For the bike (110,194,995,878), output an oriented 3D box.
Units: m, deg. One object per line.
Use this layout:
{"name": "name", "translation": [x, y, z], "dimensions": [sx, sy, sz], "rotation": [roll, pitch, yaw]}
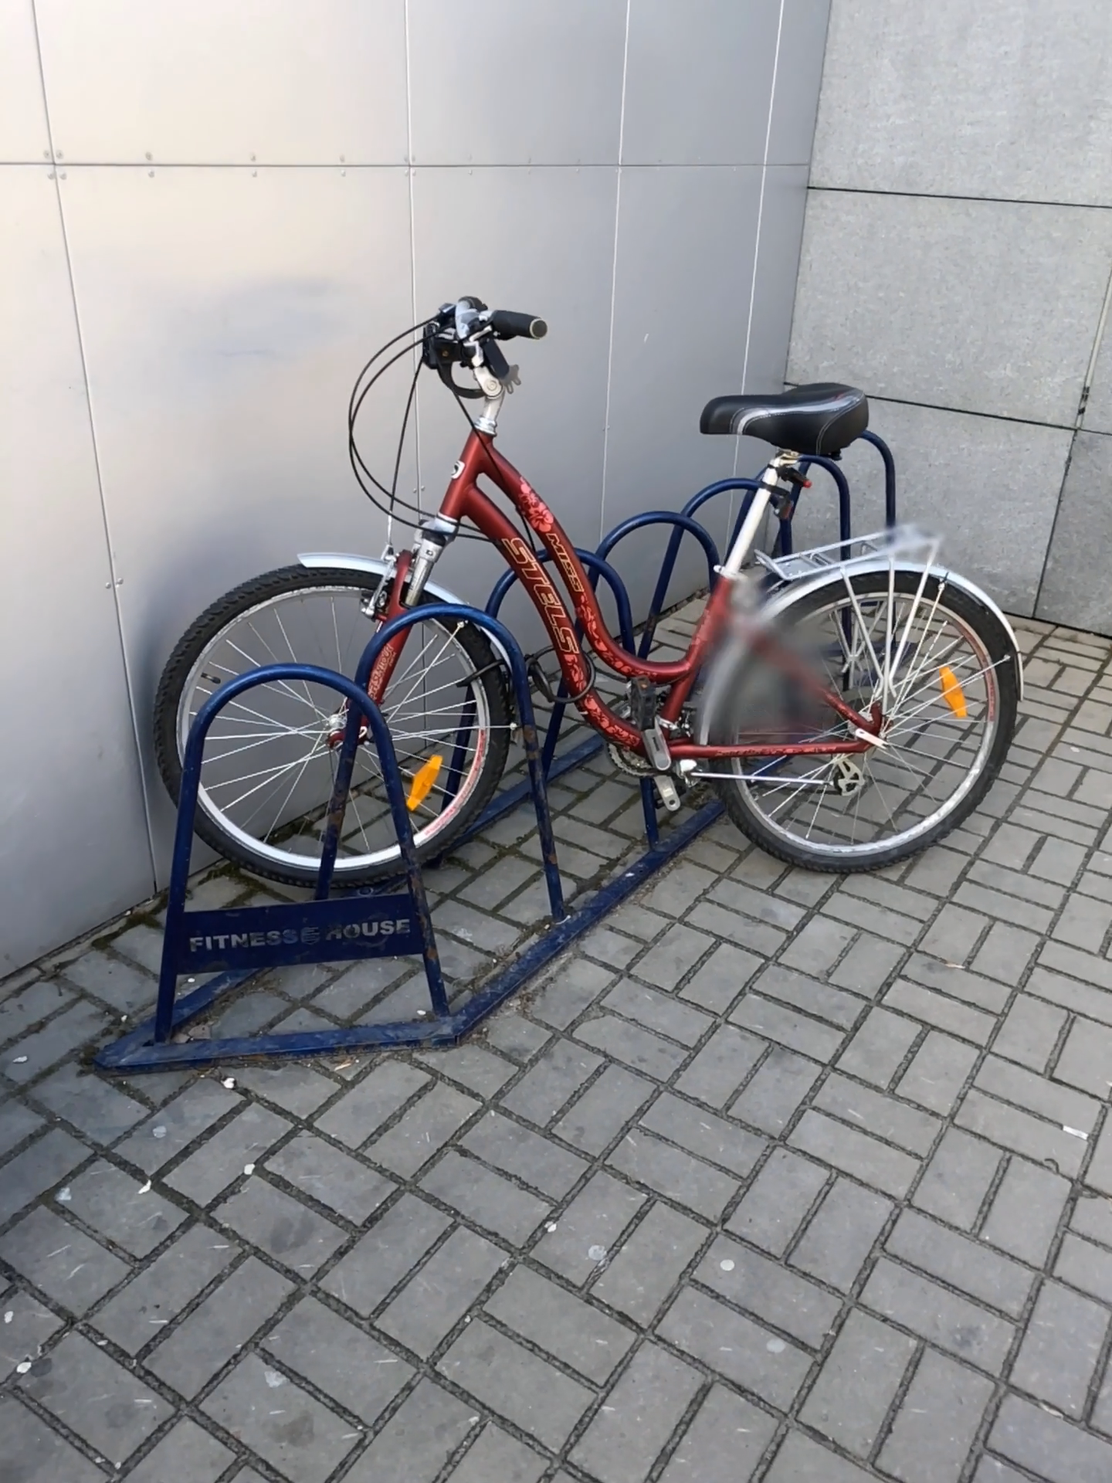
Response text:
{"name": "bike", "translation": [-0.045, -0.367, 2.237], "dimensions": [1.304, 0.972, 0.599], "rotation": [3, 26, -8]}
